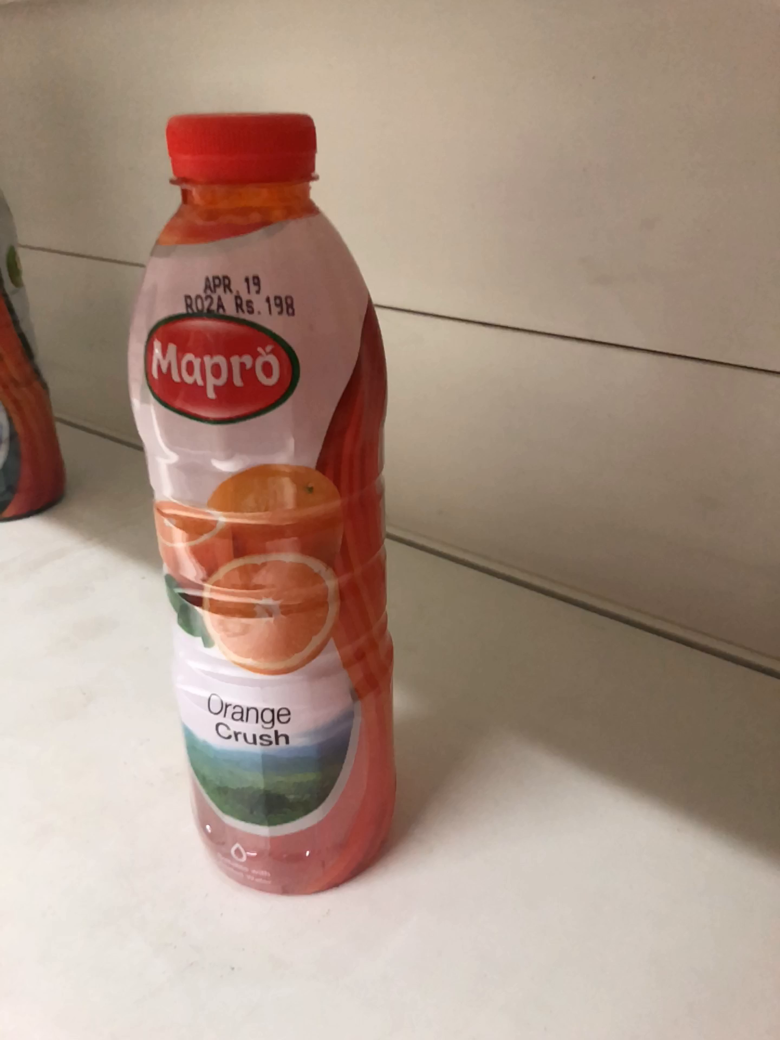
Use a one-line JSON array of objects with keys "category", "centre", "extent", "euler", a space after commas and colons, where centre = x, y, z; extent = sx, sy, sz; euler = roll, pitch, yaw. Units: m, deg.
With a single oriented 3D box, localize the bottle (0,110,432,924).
[{"category": "bottle", "centre": [-0.041, 0.002, 0.276], "extent": [0.090, 0.239, 0.080], "euler": [6, 26, 12]}]
